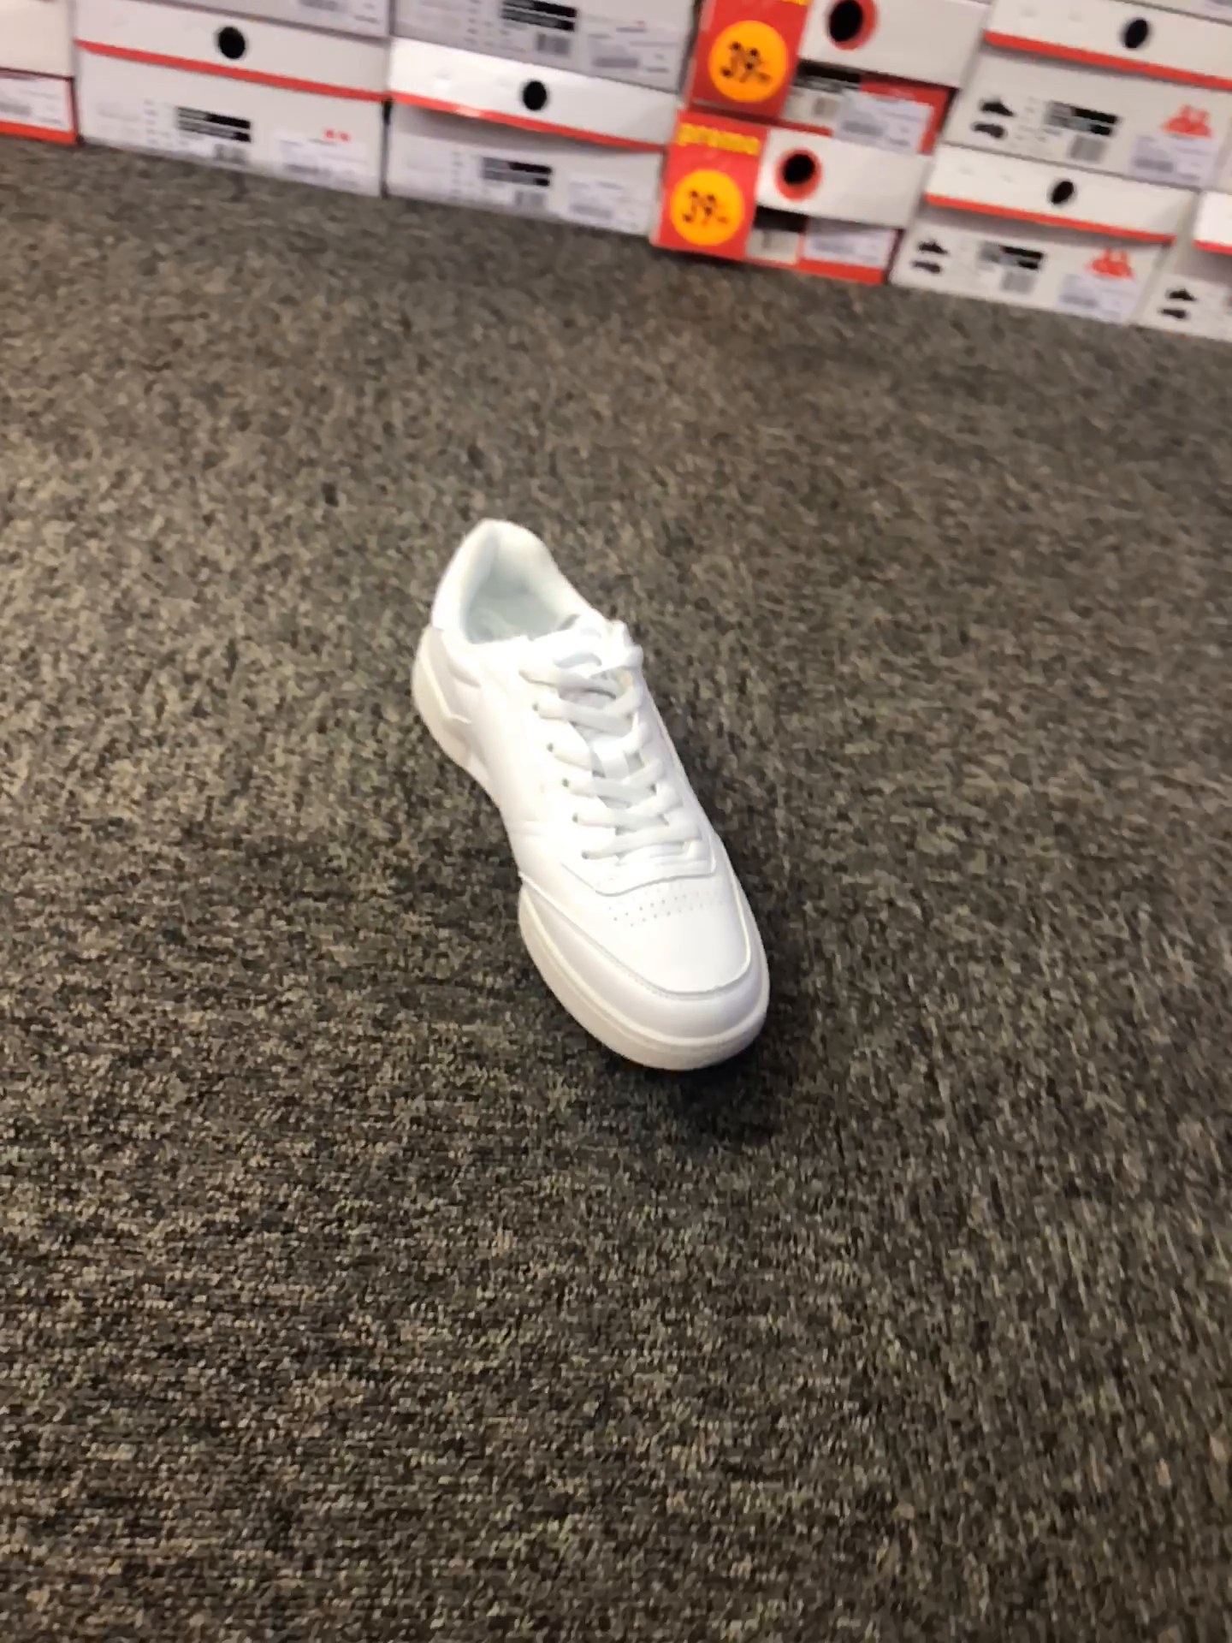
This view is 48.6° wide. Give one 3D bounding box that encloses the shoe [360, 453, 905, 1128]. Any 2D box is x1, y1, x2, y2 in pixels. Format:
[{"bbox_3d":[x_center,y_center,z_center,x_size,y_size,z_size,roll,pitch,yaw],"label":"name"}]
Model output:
[{"bbox_3d":[-0.010,-0.027,0.537,0.100,0.089,0.261,-12,53,-24],"label":"shoe"}]
